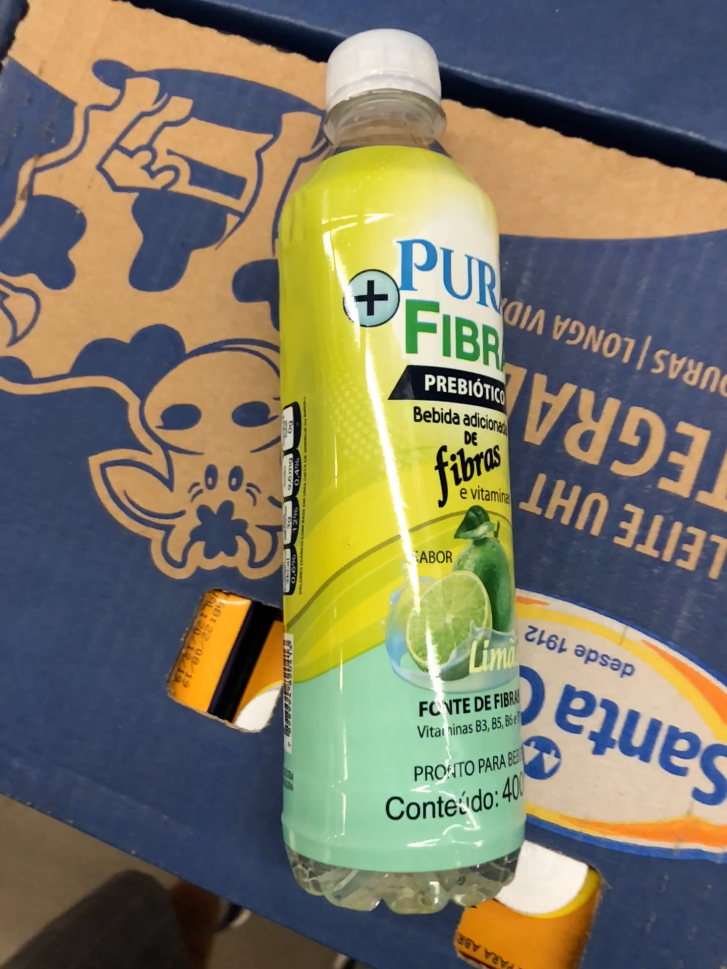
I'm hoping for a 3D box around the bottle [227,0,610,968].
[{"bbox_3d":[0.011,-0.025,0.205,0.070,0.060,0.250,-2,78,6],"label":"bottle"}]
